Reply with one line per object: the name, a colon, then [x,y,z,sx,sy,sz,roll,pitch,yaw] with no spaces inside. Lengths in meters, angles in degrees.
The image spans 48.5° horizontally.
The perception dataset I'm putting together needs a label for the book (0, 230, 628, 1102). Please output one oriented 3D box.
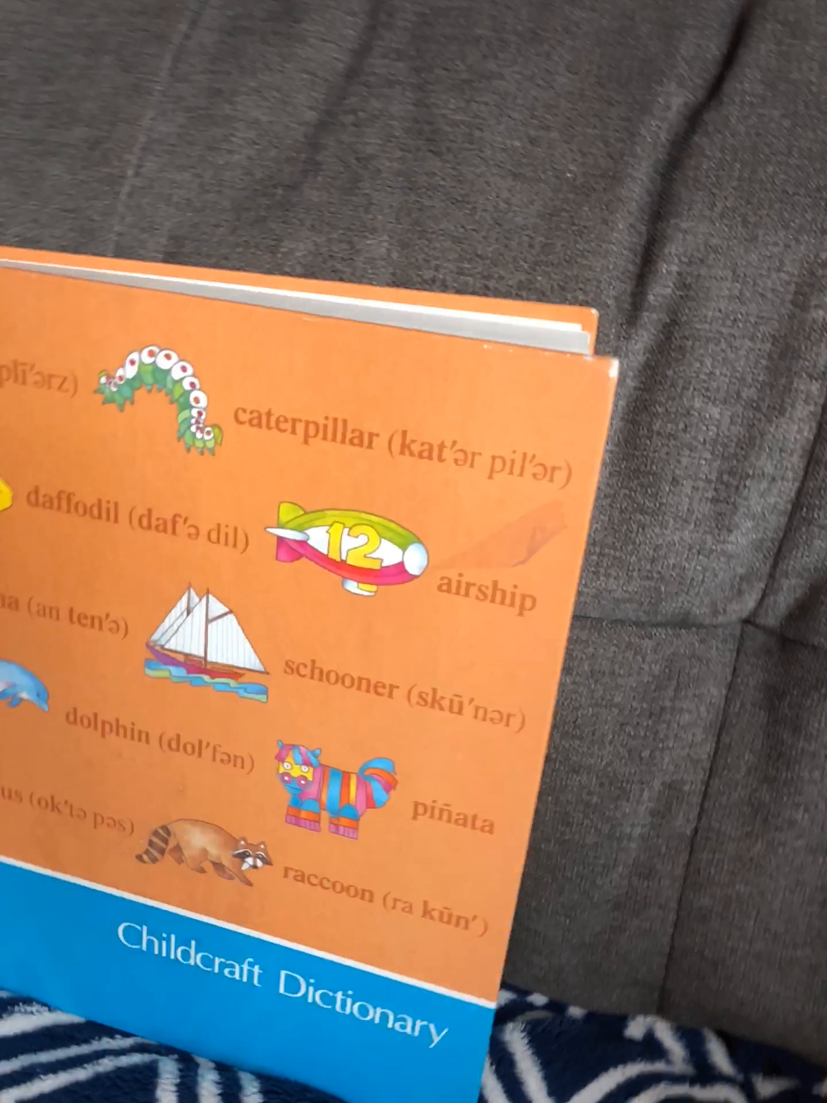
book: [-0.062,0.046,0.296,0.210,0.260,0.055,11,21,11]
